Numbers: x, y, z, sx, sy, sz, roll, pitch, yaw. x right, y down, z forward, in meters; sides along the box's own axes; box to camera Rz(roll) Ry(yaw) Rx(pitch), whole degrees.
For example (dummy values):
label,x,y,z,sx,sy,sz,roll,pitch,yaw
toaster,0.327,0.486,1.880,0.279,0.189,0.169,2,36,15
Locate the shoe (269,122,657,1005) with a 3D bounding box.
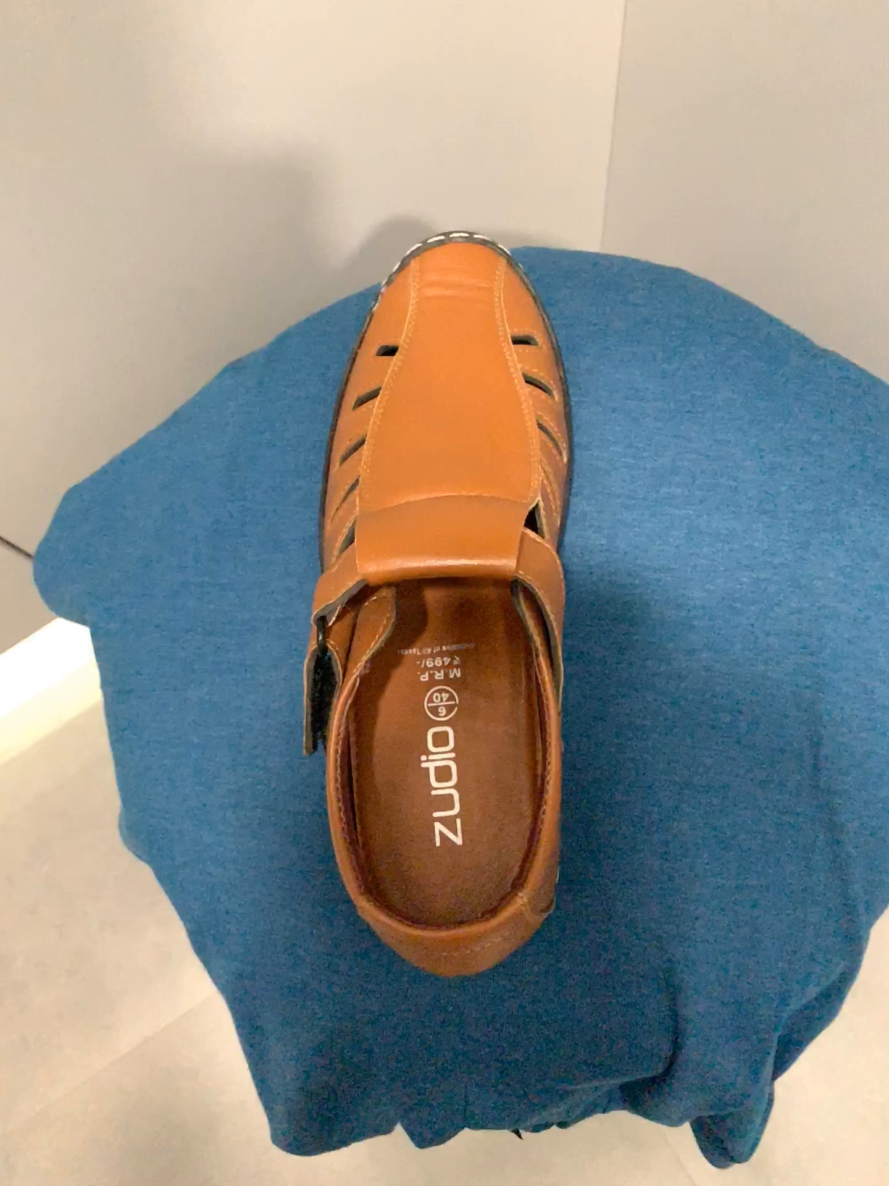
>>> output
label,x,y,z,sx,sy,sz,roll,pitch,yaw
shoe,0.007,-0.011,0.320,0.100,0.100,0.270,-2,74,5
